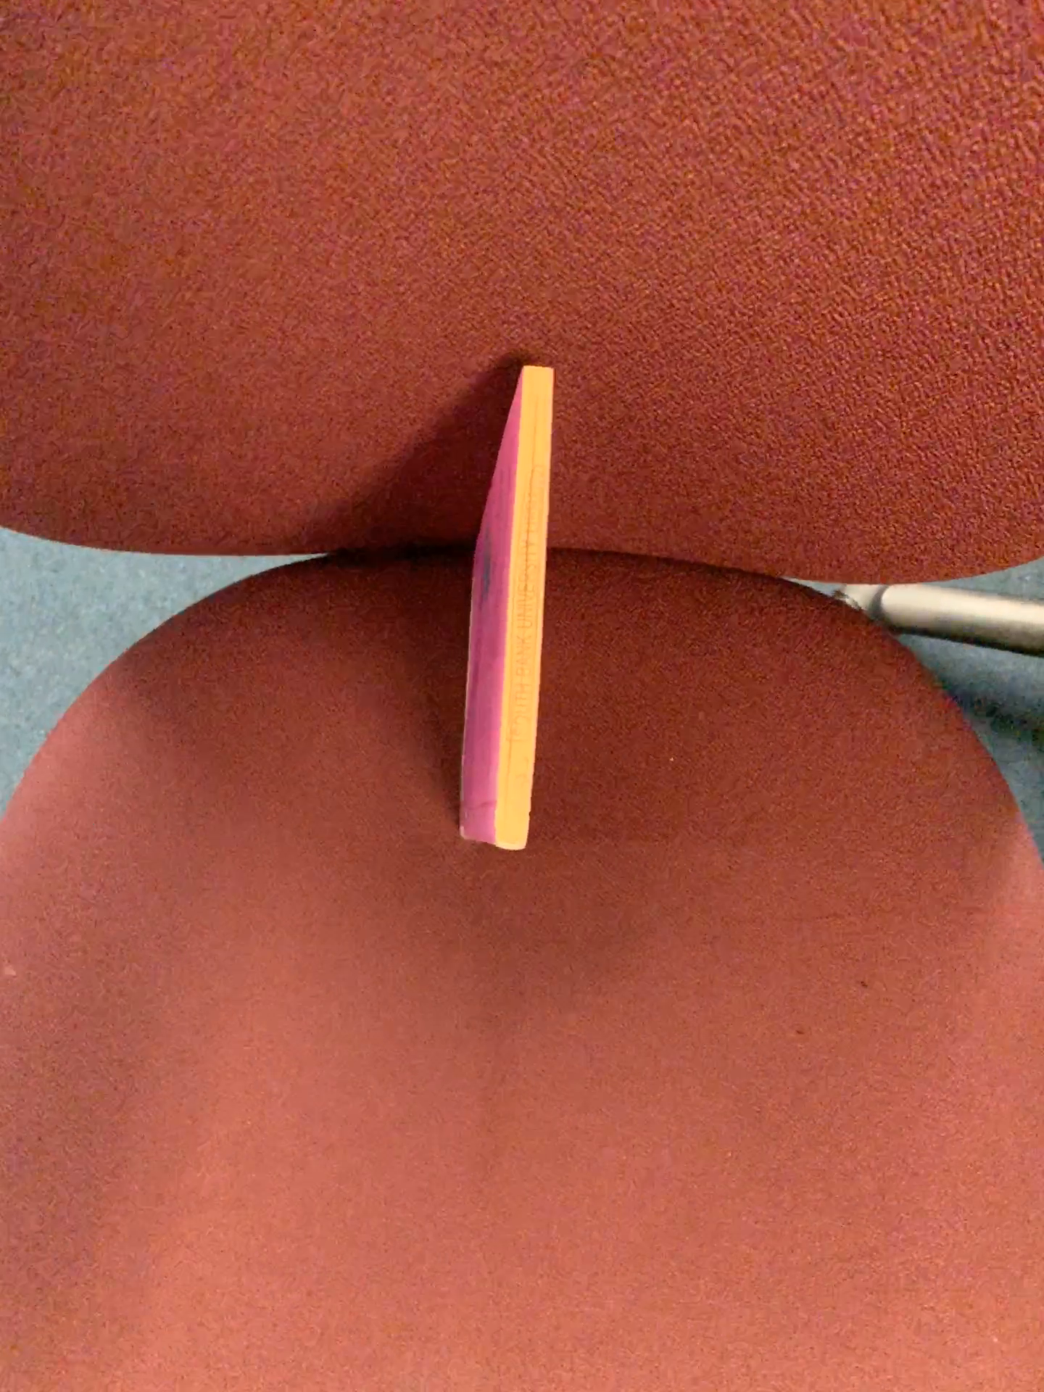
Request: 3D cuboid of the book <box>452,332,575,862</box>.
[{"bbox_3d":[-0.008,-0.014,0.372,0.017,0.190,0.141,4,81,-5],"label":"book"}]
